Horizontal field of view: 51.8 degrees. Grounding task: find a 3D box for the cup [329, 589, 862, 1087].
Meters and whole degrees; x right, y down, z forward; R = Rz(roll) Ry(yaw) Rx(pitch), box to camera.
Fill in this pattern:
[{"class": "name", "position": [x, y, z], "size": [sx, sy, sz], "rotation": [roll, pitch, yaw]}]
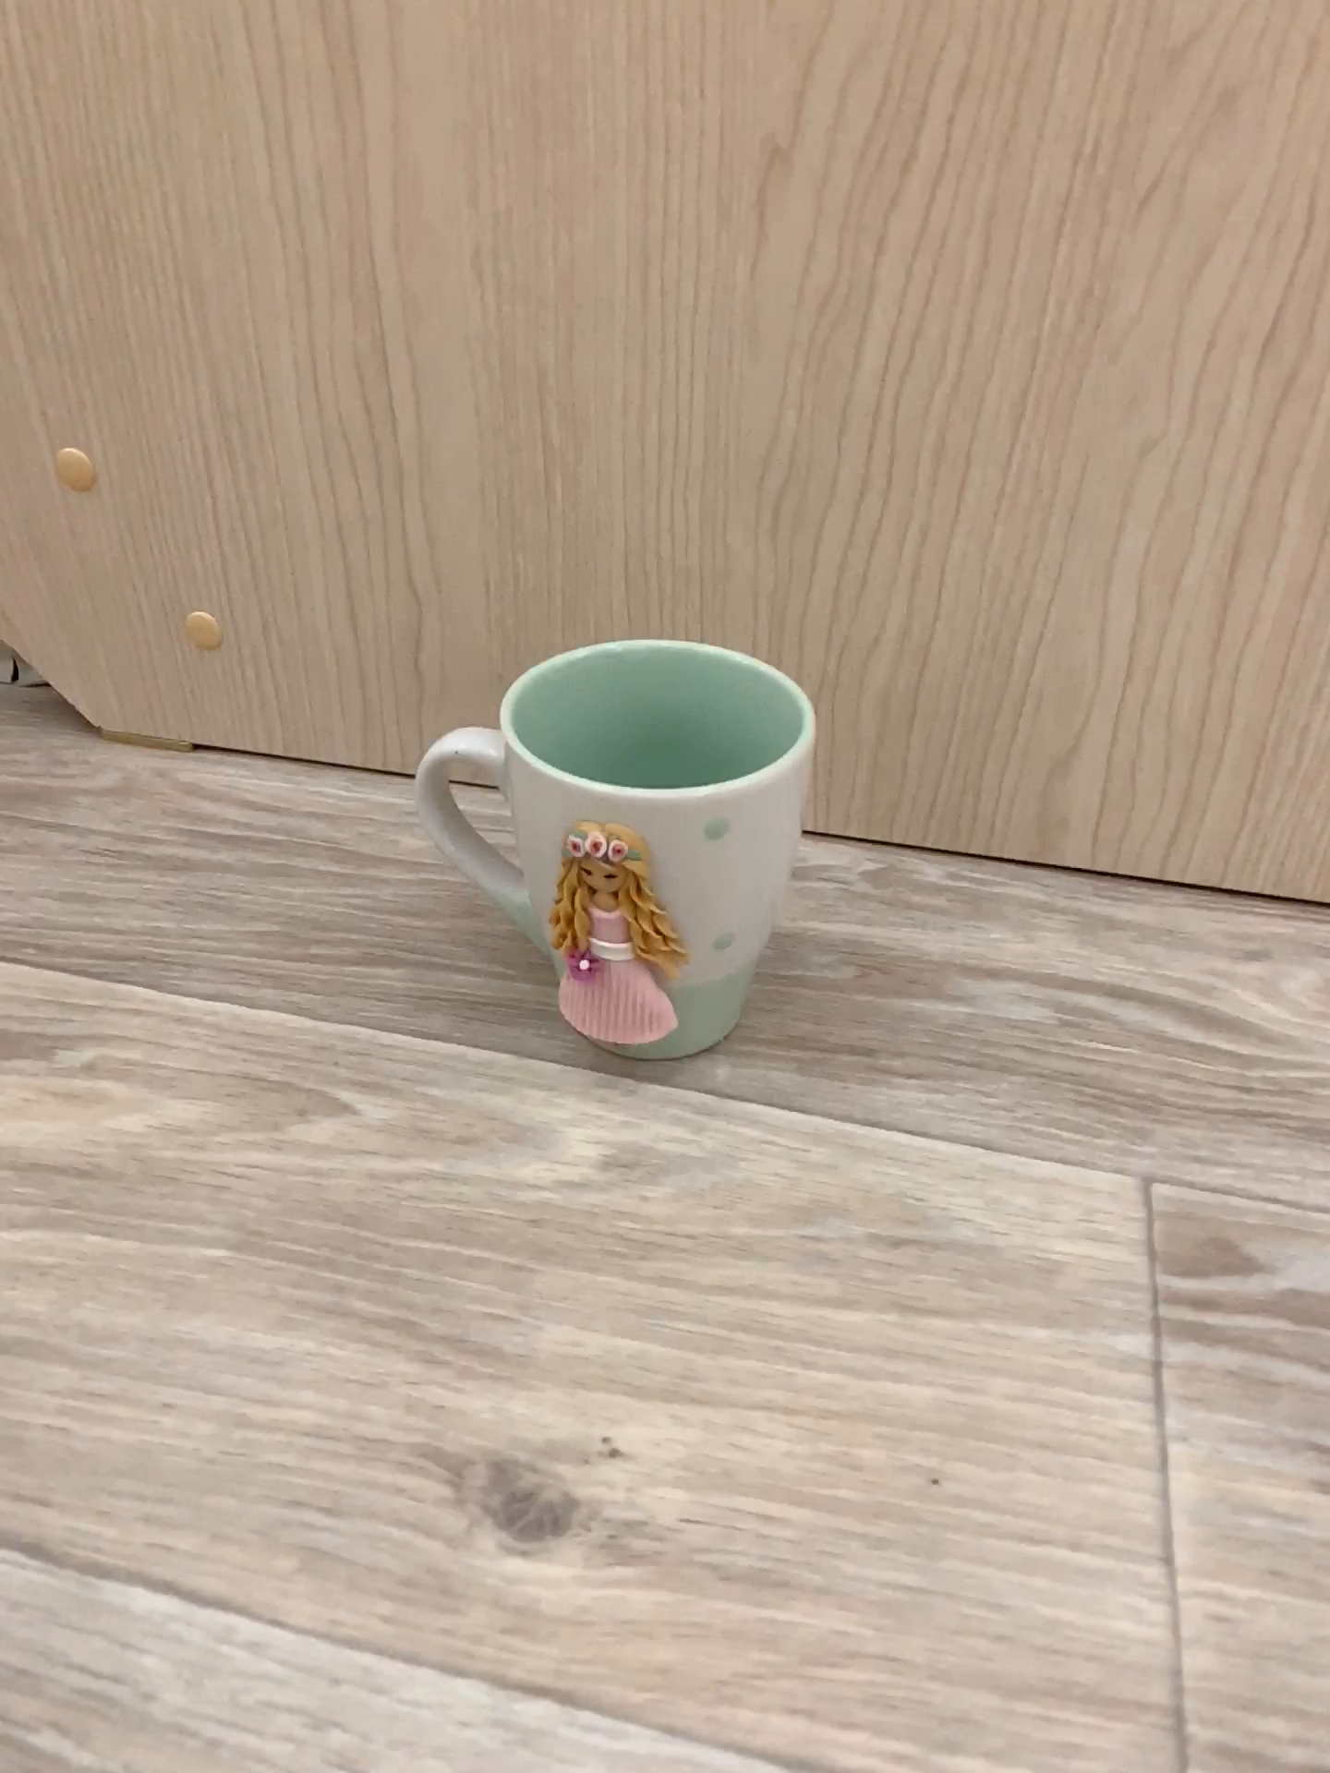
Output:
[{"class": "cup", "position": [-0.013, -0.018, 0.365], "size": [0.111, 0.080, 0.093], "rotation": [10, 35, 11]}]
